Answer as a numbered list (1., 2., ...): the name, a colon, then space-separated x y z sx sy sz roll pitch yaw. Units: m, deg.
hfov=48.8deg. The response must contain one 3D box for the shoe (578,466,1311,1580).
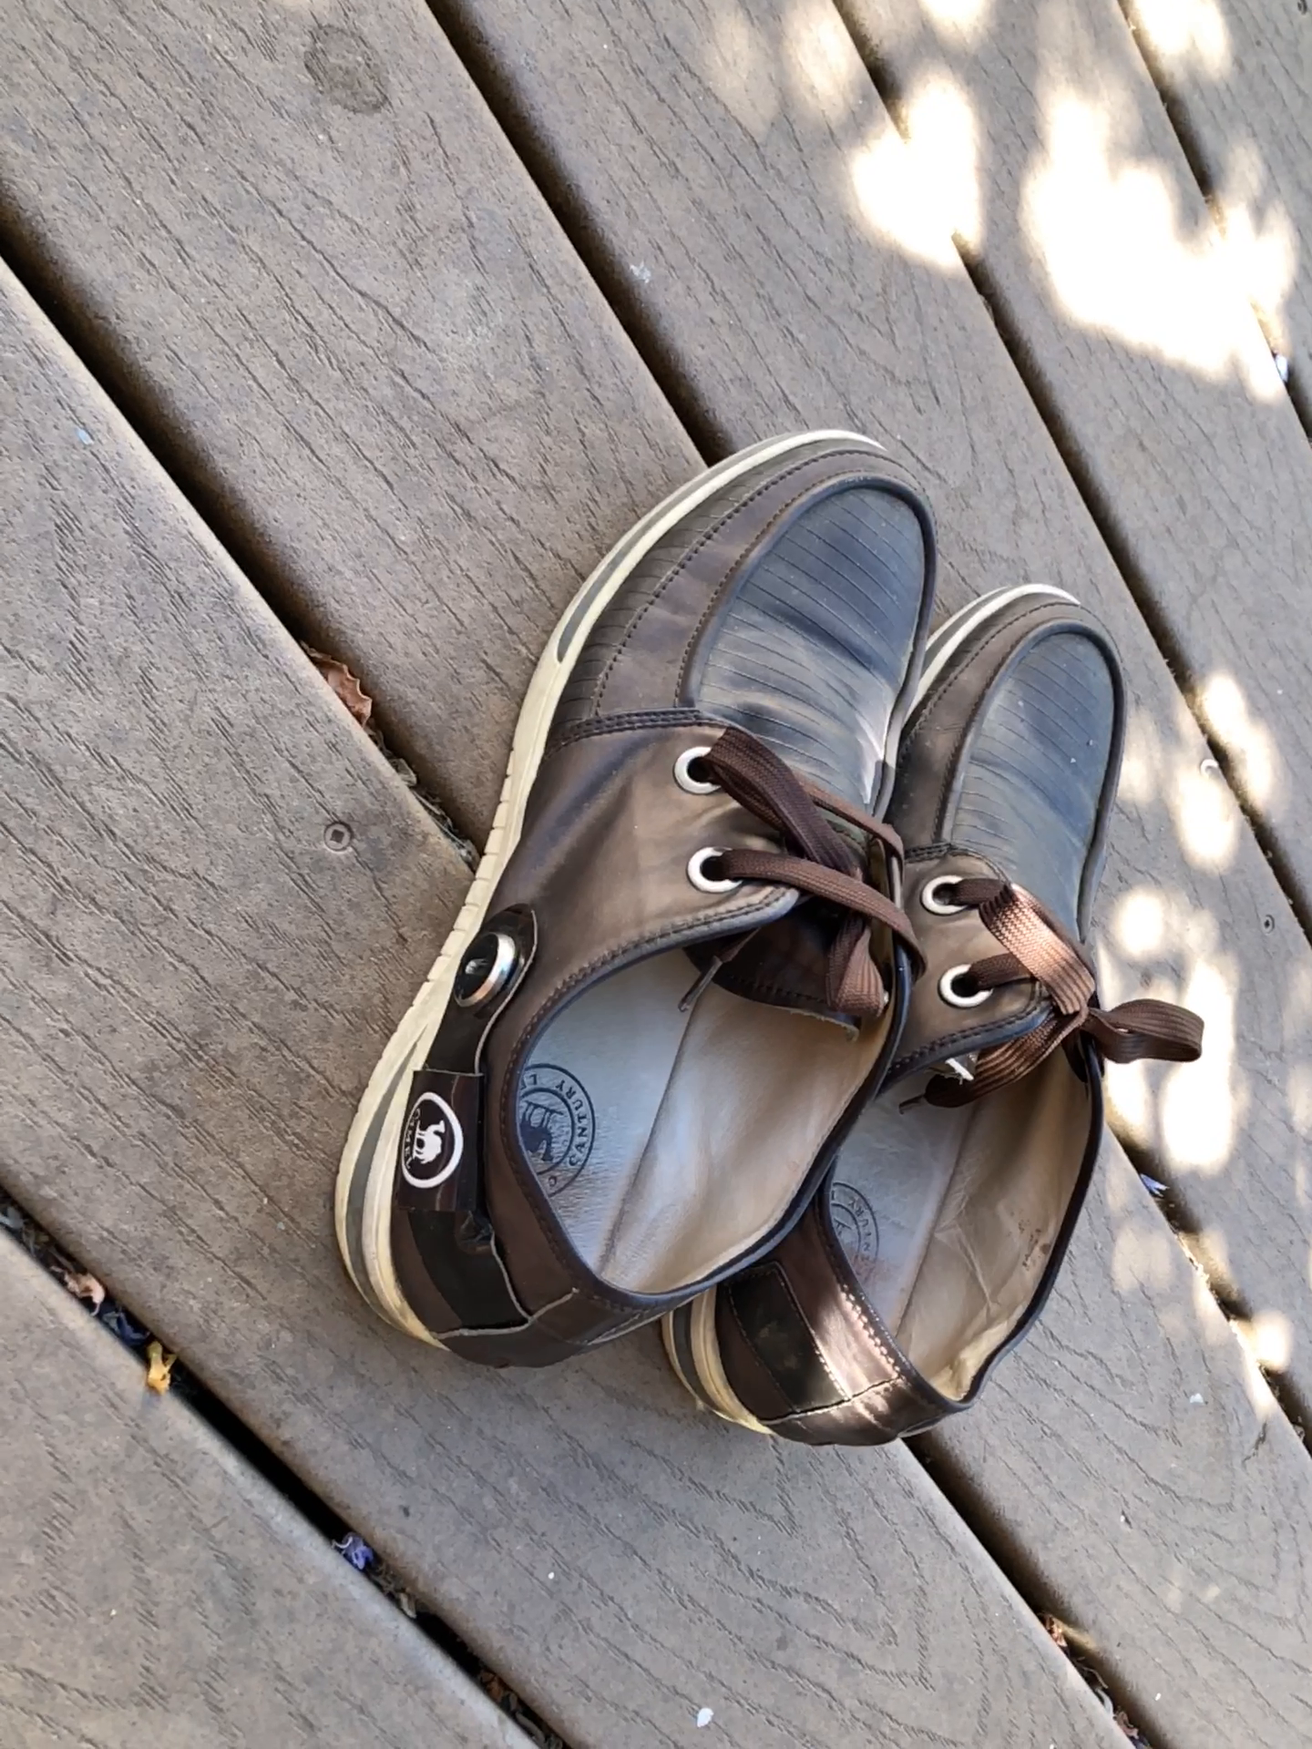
1. shoe: 0.100 0.037 0.444 0.107 0.105 0.289 32 72 -30

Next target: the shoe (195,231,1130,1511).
1. shoe: 0.008 -0.006 0.391 0.107 0.115 0.288 33 71 -30
